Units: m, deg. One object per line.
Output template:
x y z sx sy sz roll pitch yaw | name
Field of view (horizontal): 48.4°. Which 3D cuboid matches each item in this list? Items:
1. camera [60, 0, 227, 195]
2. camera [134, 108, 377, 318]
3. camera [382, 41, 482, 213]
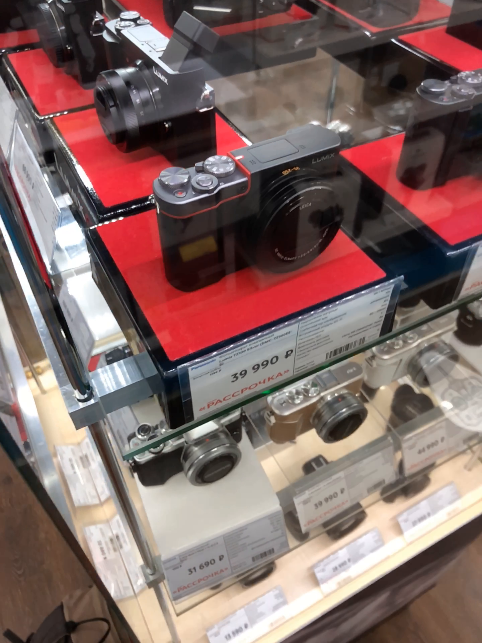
-0.069 -0.174 0.391 0.069 0.101 0.113 -23 52 -19 | camera
0.008 -0.061 0.297 0.113 0.070 0.050 -22 52 -18 | camera
0.162 -0.129 0.354 0.113 0.070 0.051 -20 51 -17 | camera
